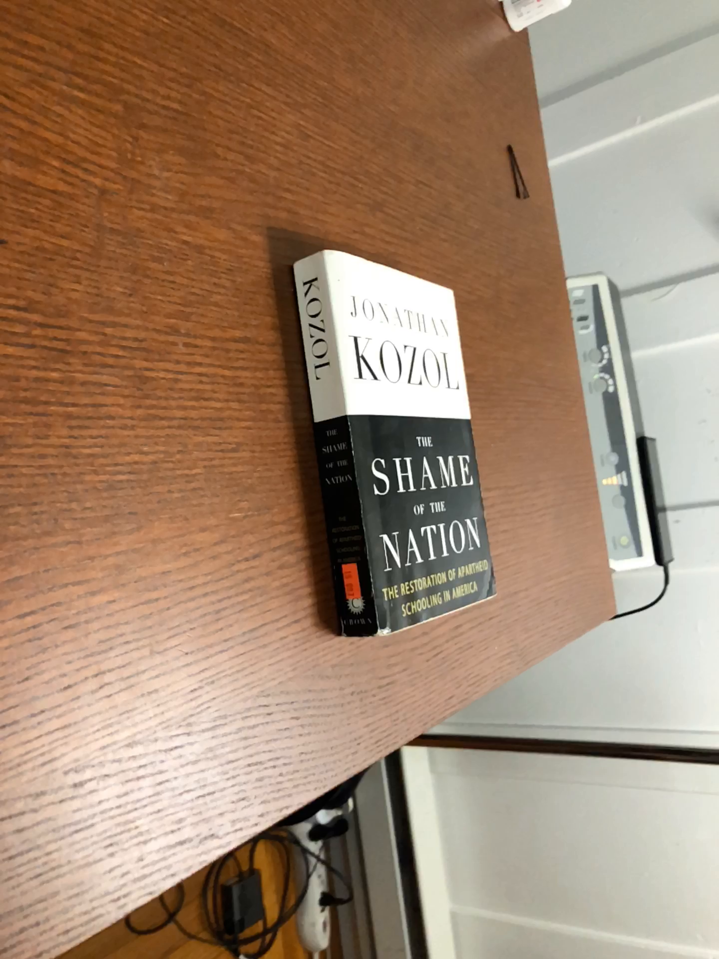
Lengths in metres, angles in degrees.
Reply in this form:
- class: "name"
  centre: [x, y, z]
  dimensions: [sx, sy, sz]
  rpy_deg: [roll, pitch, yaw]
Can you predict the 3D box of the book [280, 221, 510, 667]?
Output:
- class: "book"
  centre: [0.029, -0.020, 0.480]
  dimensions: [0.161, 0.030, 0.230]
  rpy_deg: [-2, 84, -56]
